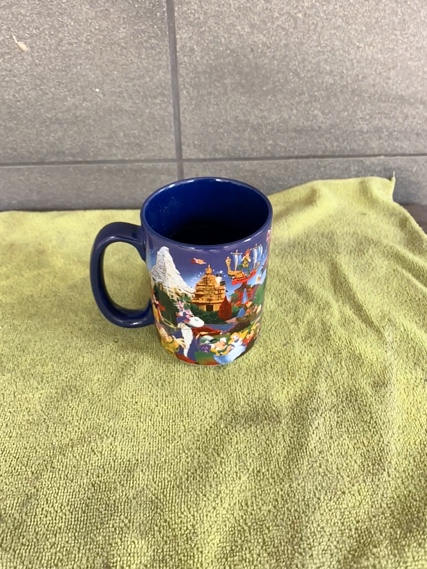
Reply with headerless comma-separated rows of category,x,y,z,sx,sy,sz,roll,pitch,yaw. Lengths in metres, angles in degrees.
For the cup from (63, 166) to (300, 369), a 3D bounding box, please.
cup,-0.017,-0.012,0.313,0.130,0.110,0.090,0,41,1
